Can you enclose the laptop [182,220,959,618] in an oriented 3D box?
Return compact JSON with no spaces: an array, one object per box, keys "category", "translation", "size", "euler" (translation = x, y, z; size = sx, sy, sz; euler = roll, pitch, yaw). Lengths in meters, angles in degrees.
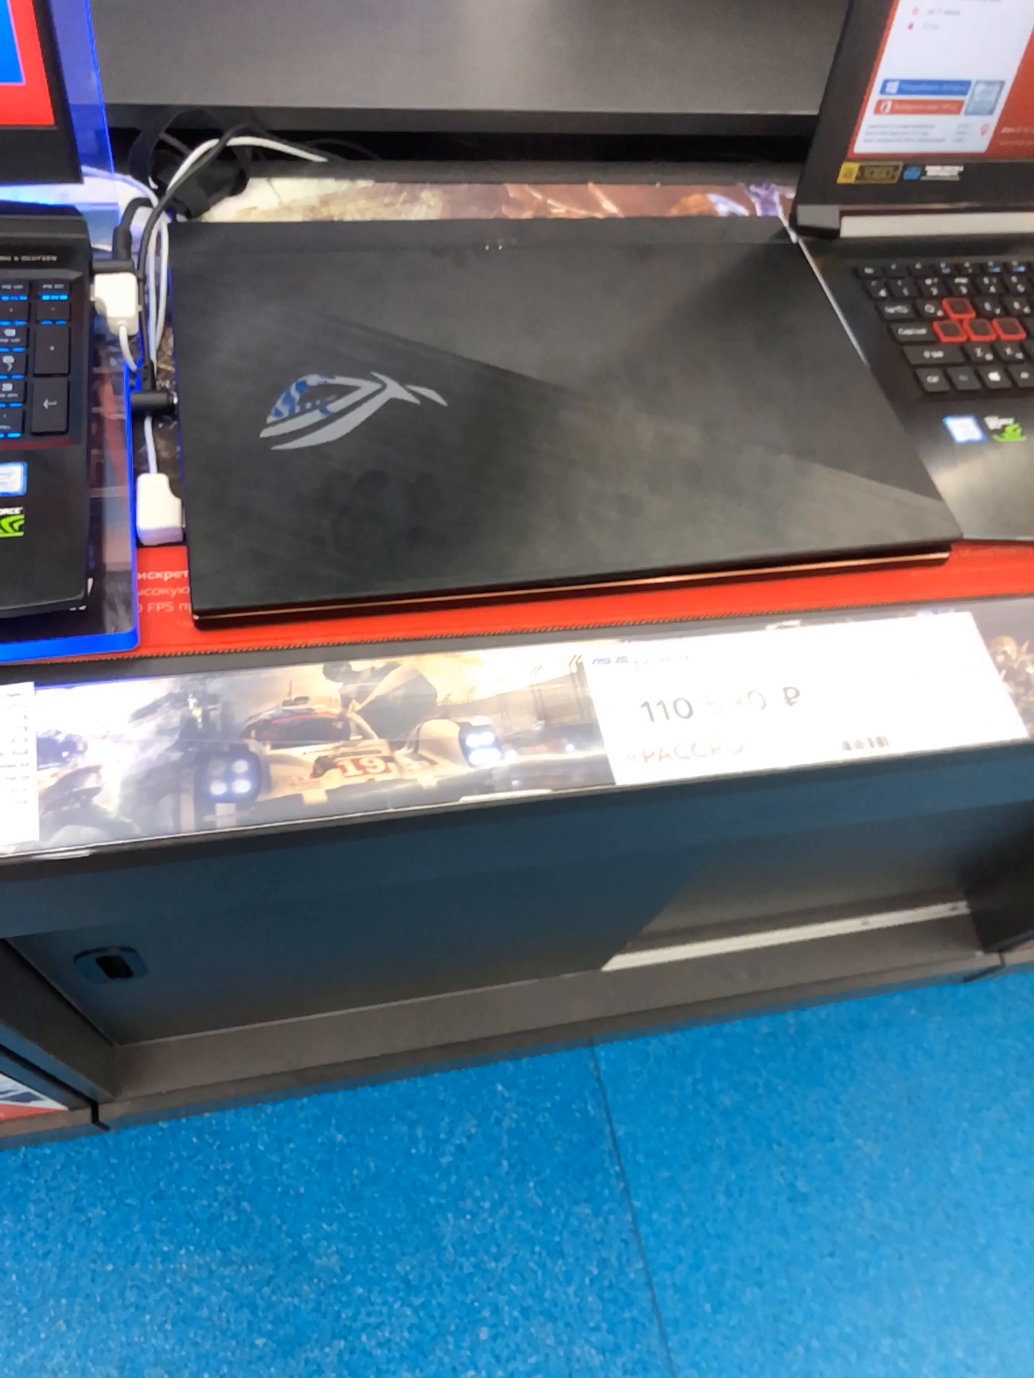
[{"category":"laptop","translation":[0.017,-0.154,0.575],"size":[0.348,0.006,0.255],"euler":[-6,58,-13]}]
